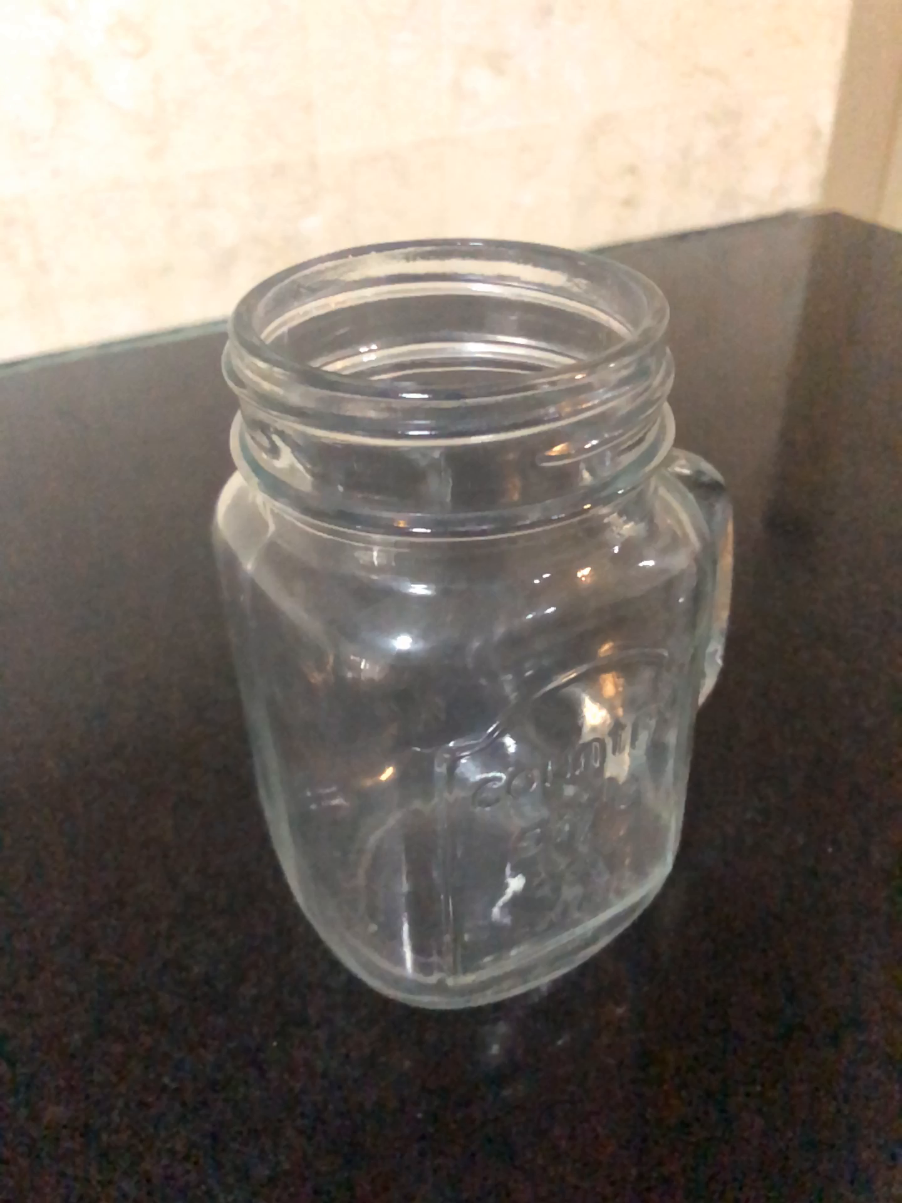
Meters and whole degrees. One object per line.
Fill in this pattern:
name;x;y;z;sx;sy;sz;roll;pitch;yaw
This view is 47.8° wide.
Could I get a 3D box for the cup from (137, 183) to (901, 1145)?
cup;0.020;0.005;0.192;0.110;0.129;0.080;-20;38;-23
